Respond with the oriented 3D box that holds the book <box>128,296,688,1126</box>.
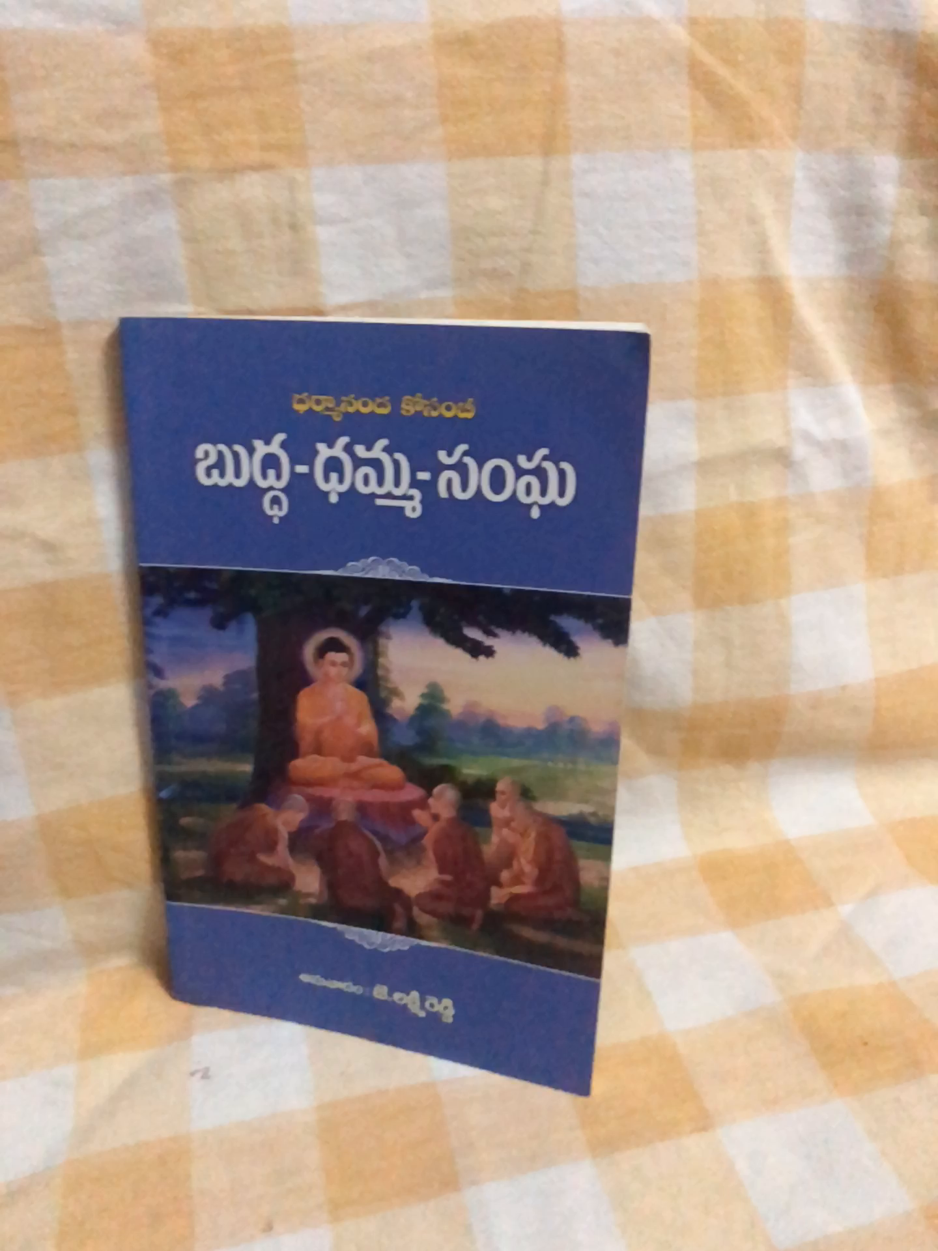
[{"bbox_3d":[-0.023,0.022,0.297,0.150,0.219,0.020,6,13,17],"label":"book"}]
